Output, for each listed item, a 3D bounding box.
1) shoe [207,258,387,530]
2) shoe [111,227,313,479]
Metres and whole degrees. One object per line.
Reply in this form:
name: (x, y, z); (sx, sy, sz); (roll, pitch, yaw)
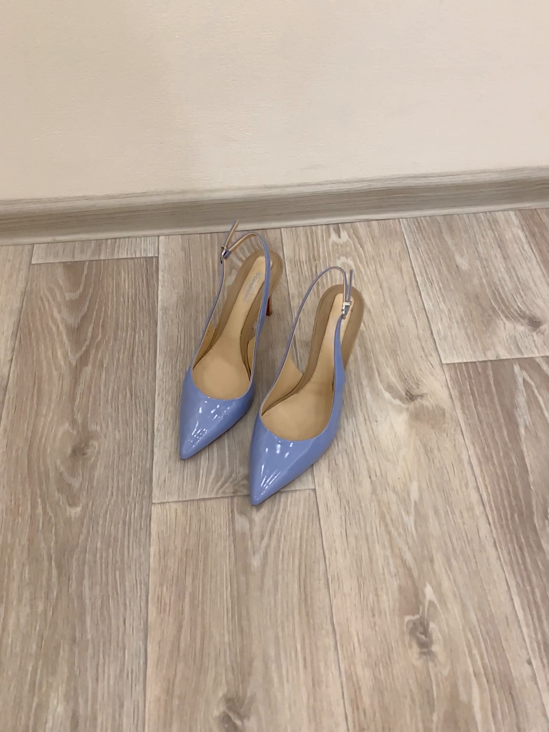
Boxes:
shoe: (0.028, 0.021, 0.546); (0.089, 0.100, 0.231); (18, 59, 11)
shoe: (-0.052, -0.019, 0.577); (0.089, 0.100, 0.231); (23, 60, 14)
